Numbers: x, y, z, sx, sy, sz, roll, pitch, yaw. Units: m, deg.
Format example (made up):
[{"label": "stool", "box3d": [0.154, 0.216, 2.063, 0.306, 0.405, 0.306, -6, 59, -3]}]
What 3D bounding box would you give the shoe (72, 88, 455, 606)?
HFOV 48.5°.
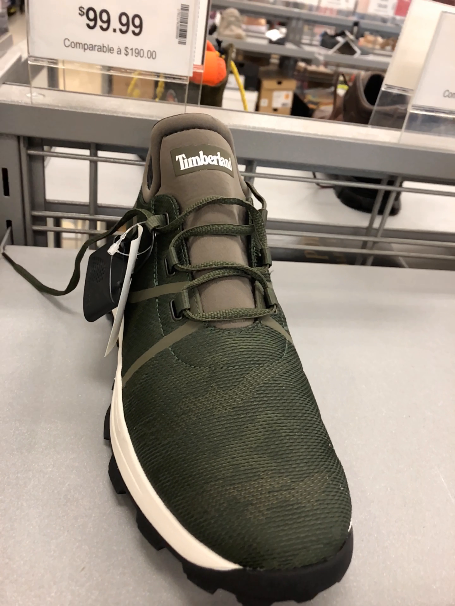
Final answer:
[{"label": "shoe", "box3d": [-0.015, -0.005, 0.295, 0.130, 0.149, 0.312, -2, 35, -19]}]
